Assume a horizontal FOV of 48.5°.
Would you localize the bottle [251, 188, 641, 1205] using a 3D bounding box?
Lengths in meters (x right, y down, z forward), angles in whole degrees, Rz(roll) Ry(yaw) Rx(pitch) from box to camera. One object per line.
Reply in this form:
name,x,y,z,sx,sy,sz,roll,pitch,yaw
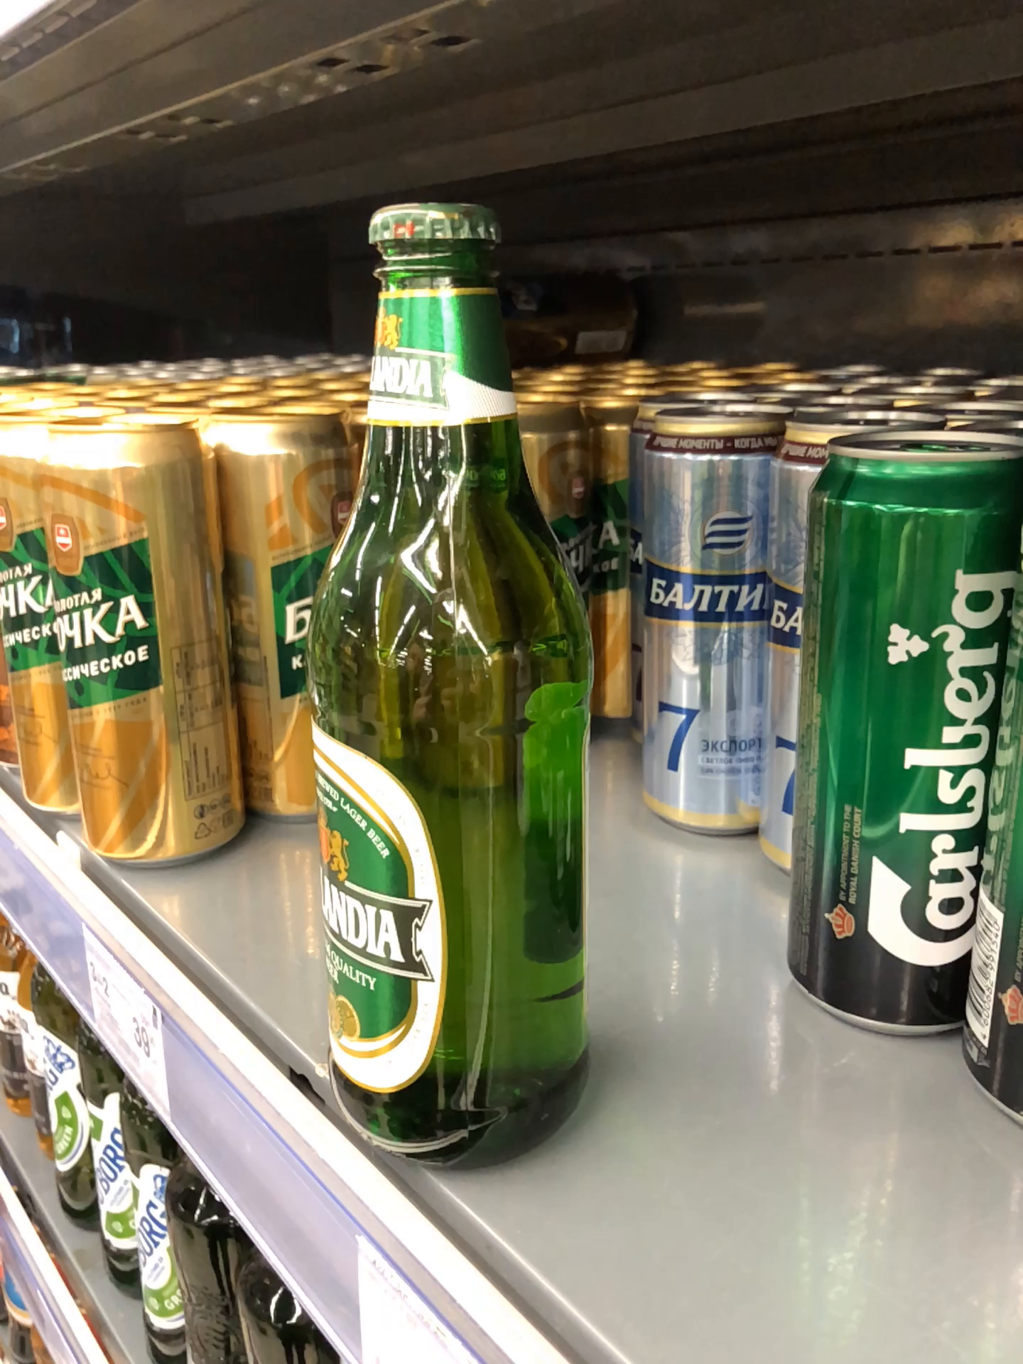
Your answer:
bottle,-0.015,0.003,0.267,0.063,0.212,0.070,-7,18,-19
